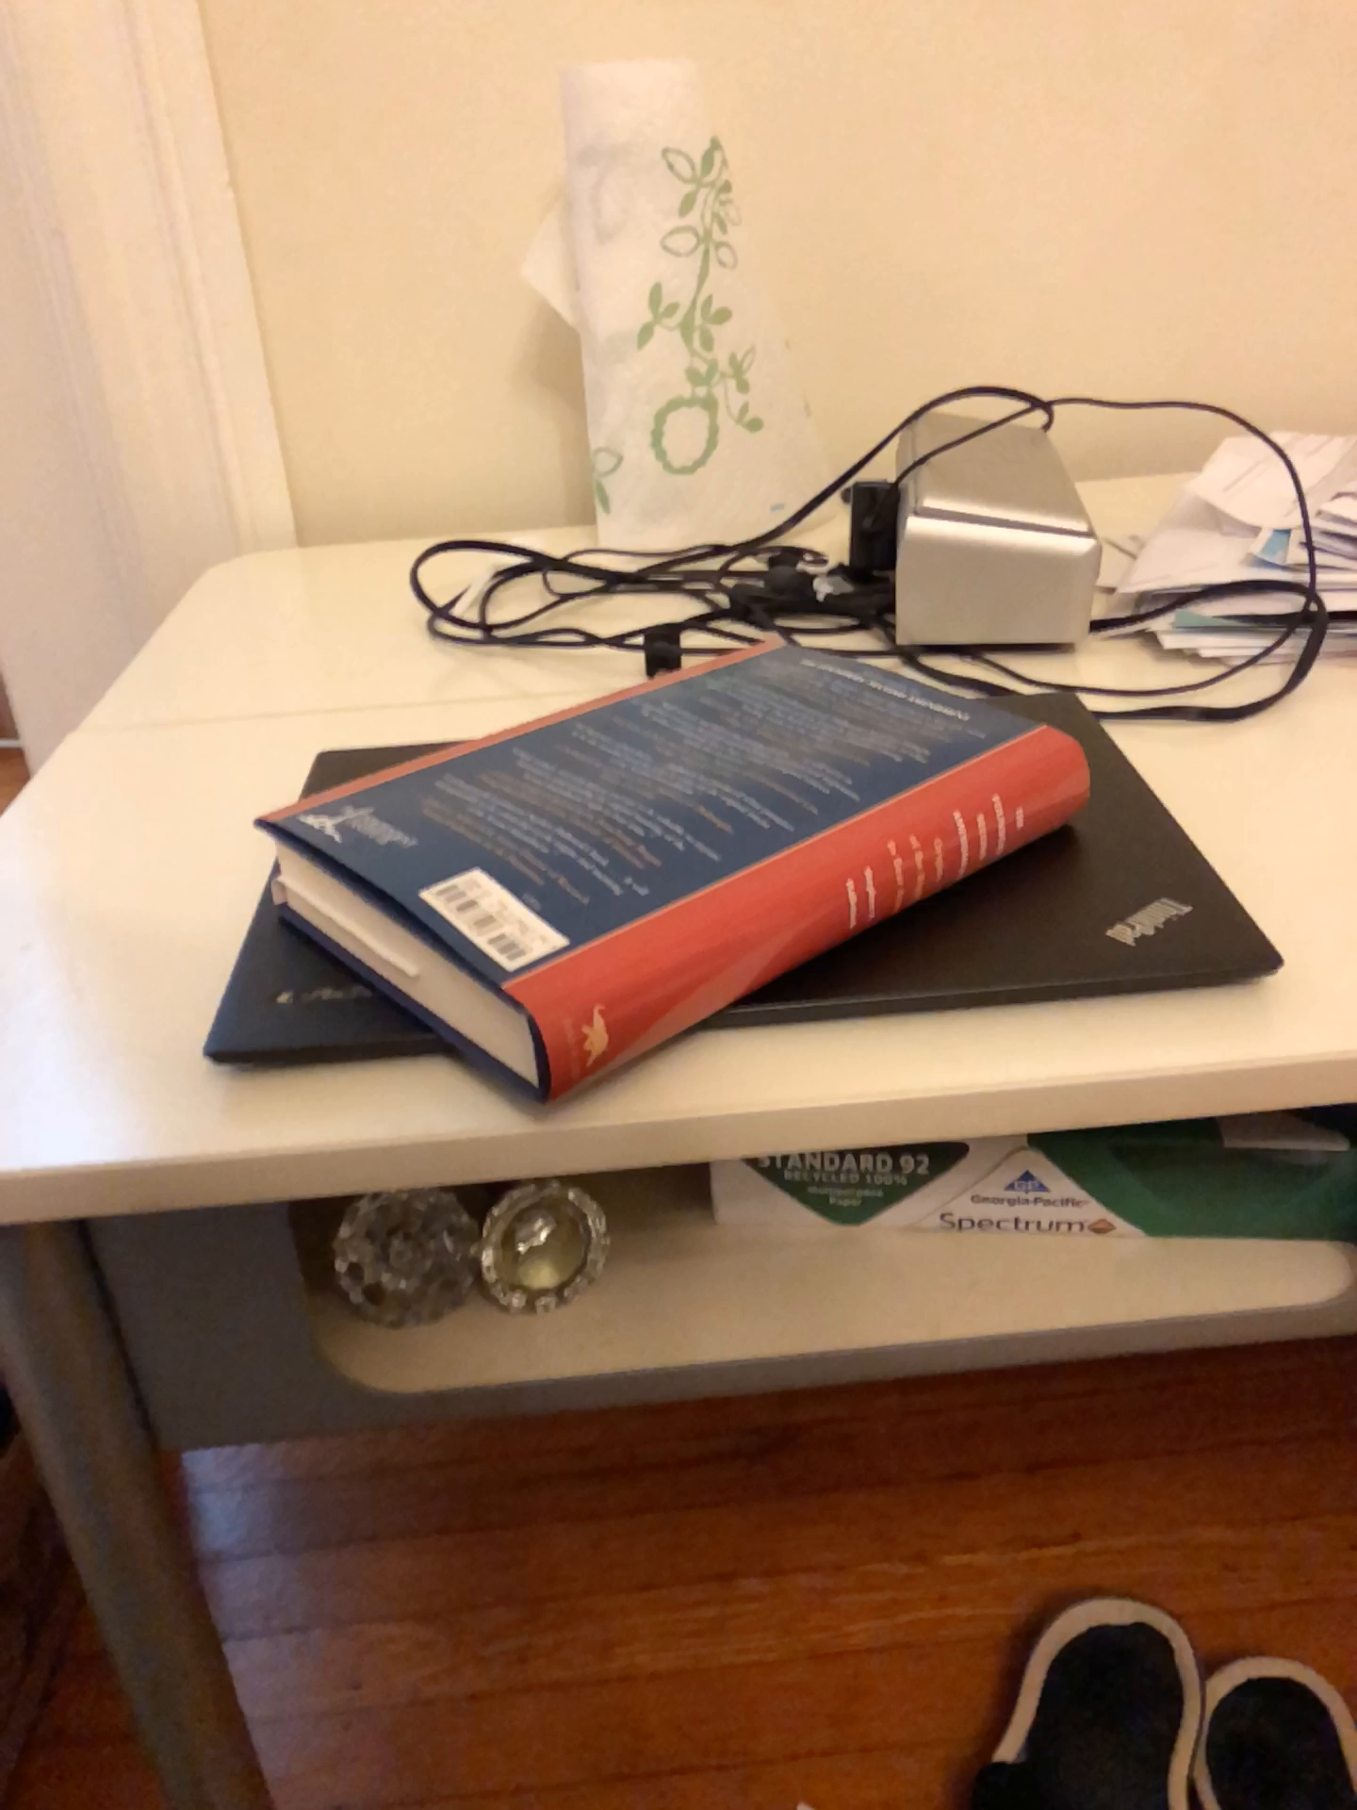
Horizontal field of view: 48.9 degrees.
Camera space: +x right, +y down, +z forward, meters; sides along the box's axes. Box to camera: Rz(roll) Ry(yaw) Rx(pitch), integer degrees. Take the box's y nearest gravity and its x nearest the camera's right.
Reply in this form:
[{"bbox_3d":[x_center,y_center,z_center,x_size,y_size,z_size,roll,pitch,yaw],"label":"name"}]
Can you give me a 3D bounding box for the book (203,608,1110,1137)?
[{"bbox_3d":[-0.004,-0.031,0.489,0.241,0.040,0.170,-27,34,-32],"label":"book"}]
